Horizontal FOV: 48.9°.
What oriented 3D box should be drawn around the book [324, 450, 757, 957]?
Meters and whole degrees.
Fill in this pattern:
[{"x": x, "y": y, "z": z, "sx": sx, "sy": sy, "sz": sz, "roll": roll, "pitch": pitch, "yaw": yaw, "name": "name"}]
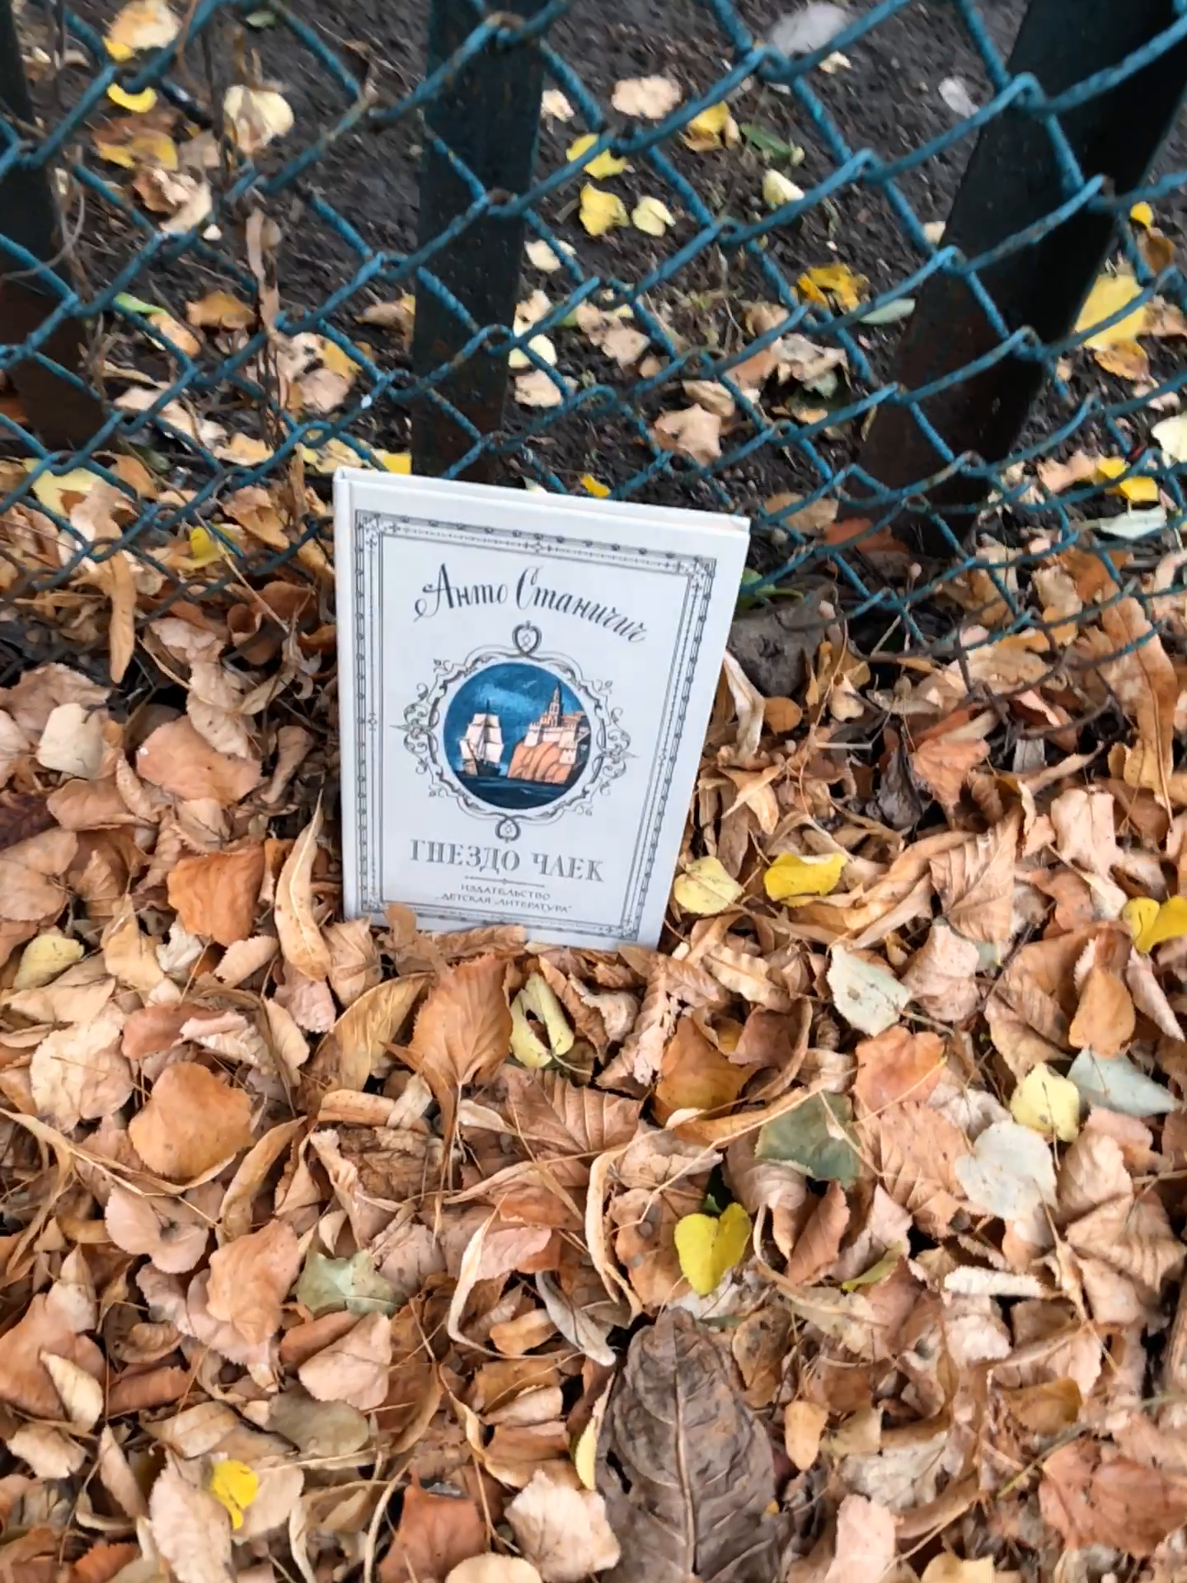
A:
[{"x": -0.025, "y": -0.018, "z": 0.459, "sx": 0.128, "sy": 0.199, "sz": 0.016, "roll": 7, "pitch": 44, "yaw": -1, "name": "book"}]
